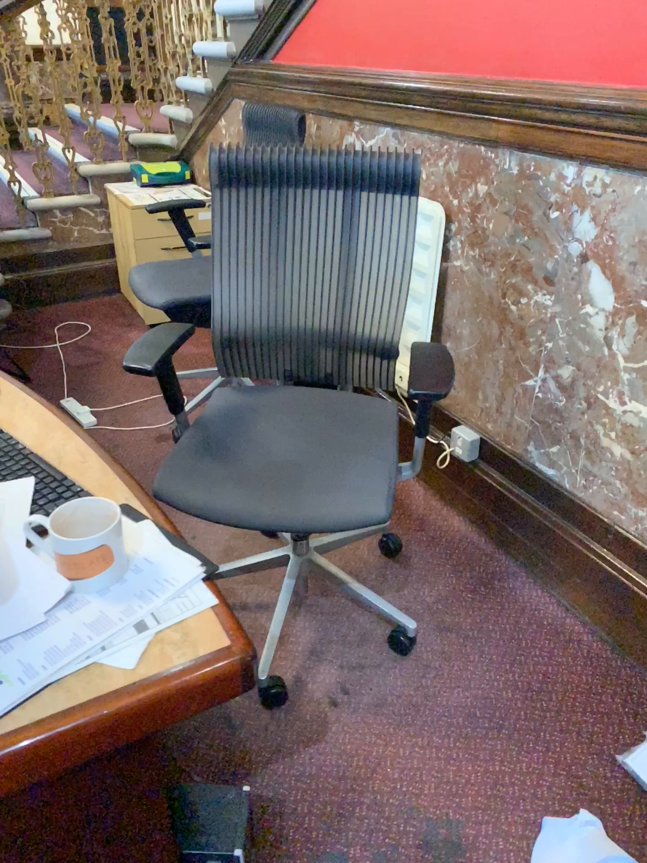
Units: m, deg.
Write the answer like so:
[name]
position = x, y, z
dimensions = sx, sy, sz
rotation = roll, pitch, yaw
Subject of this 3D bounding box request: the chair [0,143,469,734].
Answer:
[chair]
position = -0.097, -0.015, 1.548
dimensions = 0.720, 1.129, 0.696
rotation = 5, 30, 8
